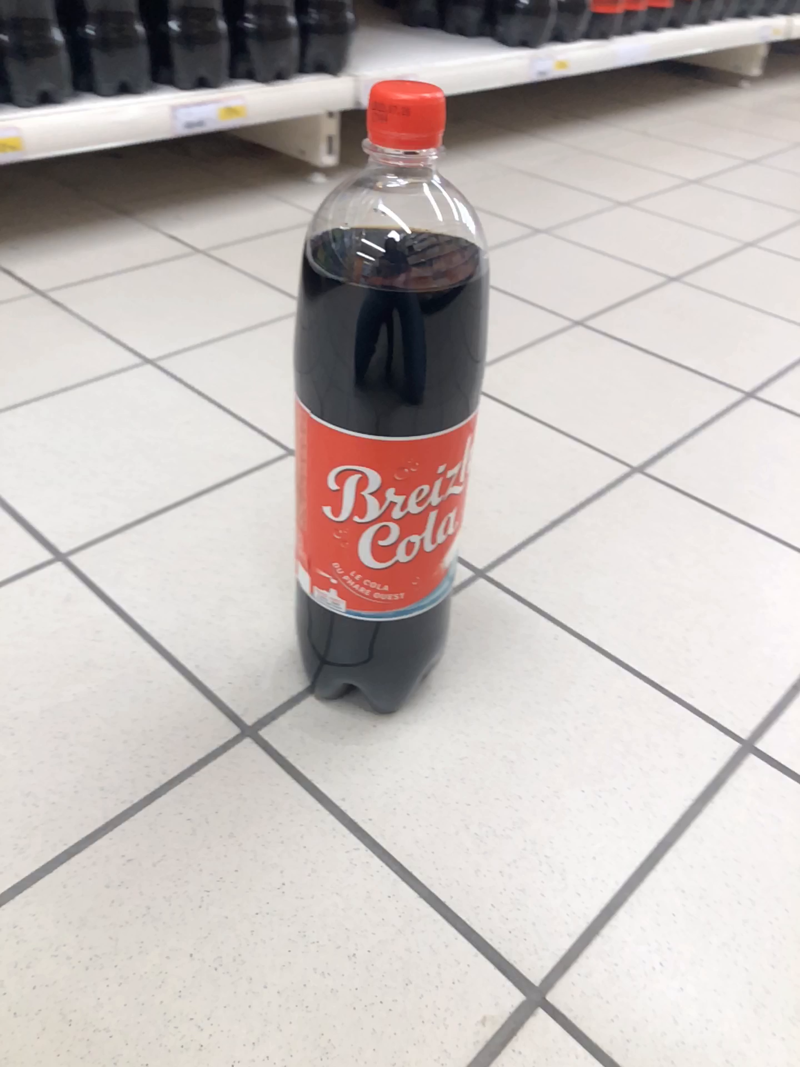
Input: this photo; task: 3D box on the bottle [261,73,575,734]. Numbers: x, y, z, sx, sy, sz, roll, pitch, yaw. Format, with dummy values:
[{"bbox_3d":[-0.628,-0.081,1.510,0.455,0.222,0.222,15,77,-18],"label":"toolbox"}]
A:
[{"bbox_3d":[-0.008,-0.049,0.444,0.100,0.308,0.100,3,36,-2],"label":"bottle"}]
